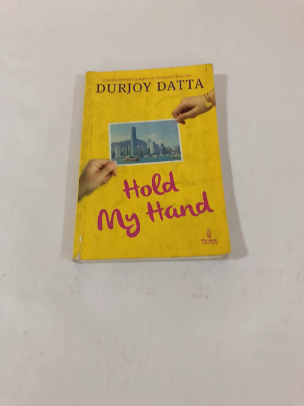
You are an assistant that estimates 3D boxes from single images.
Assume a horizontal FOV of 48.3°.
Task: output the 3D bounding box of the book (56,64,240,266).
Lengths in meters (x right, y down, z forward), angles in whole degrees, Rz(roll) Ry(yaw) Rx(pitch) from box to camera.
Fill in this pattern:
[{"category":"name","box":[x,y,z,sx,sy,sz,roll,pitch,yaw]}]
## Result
[{"category":"book","box":[-0.005,-0.042,0.304,0.140,0.020,0.190,-1,68,1]}]
